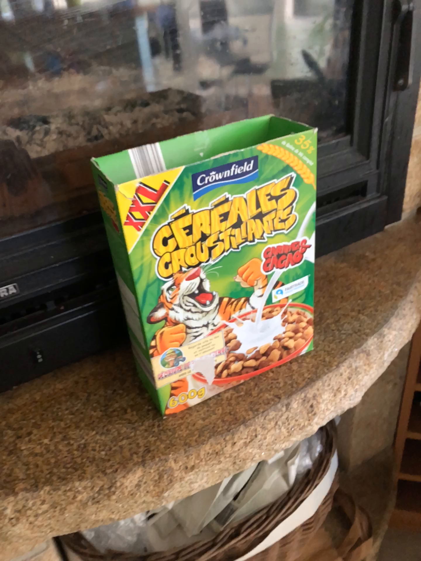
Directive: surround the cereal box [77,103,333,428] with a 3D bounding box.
[{"bbox_3d":[0.009,-0.016,0.465,0.201,0.258,0.090,-21,35,-22],"label":"cereal box"}]
